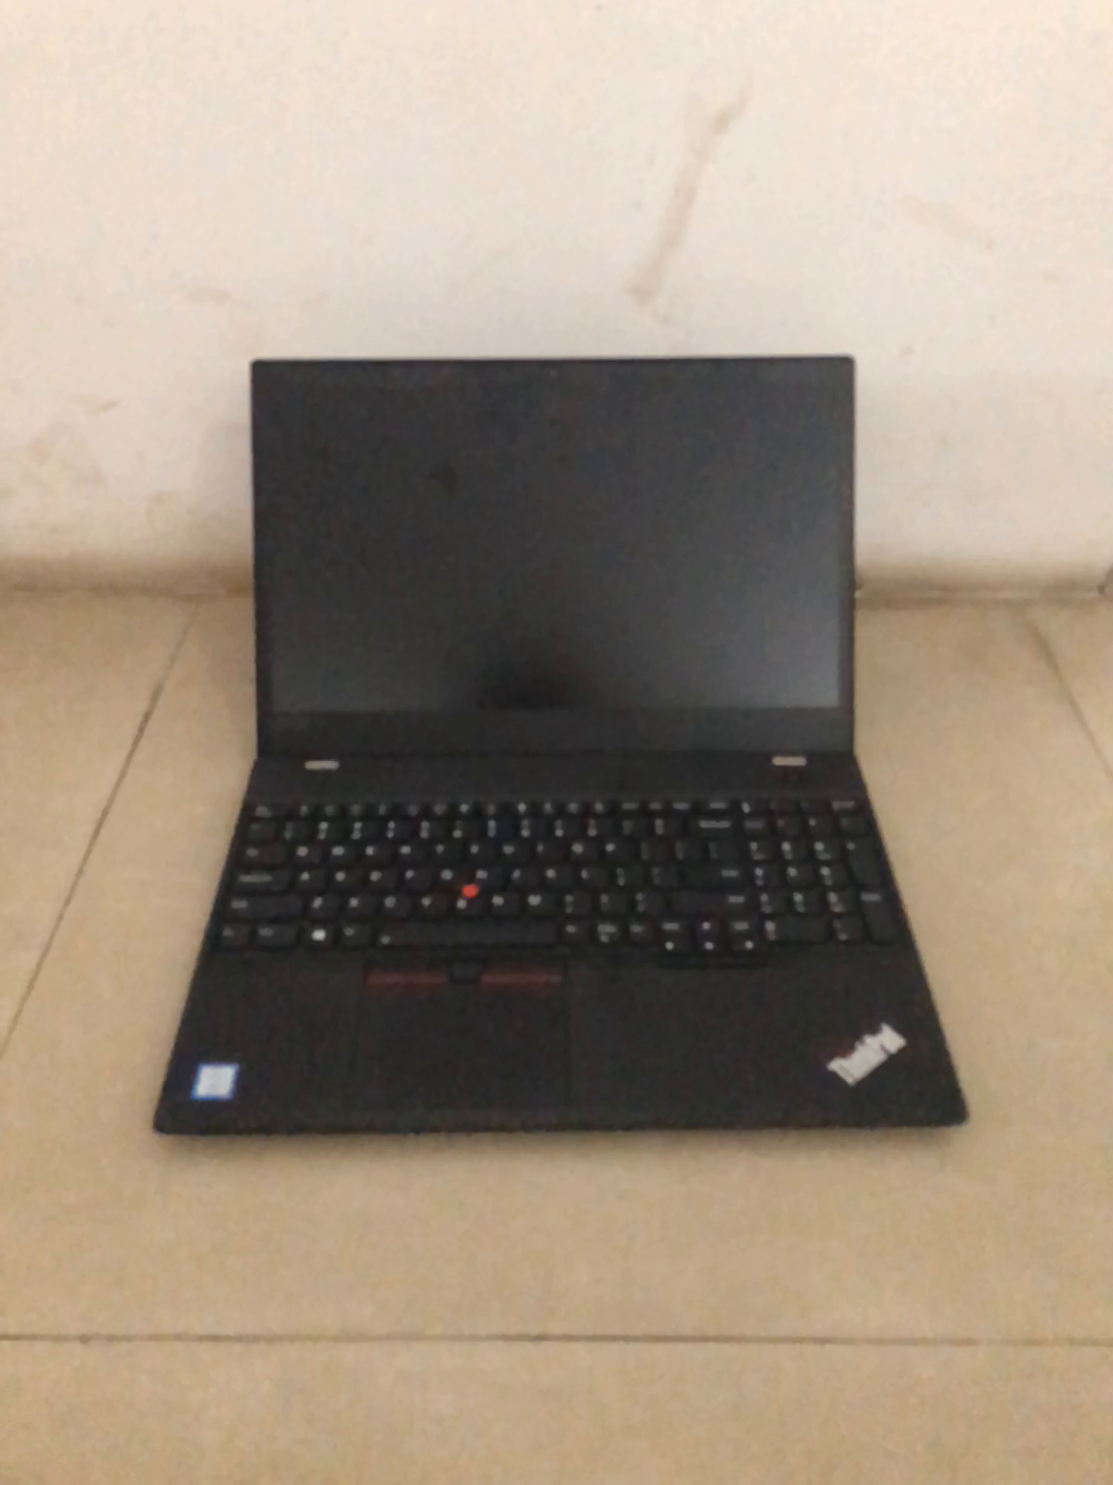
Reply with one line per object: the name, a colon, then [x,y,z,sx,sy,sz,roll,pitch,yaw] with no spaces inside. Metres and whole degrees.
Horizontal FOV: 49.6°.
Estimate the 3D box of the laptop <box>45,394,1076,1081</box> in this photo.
laptop: [-0.005,-0.027,0.615,0.344,0.192,0.365,0,34,-3]
